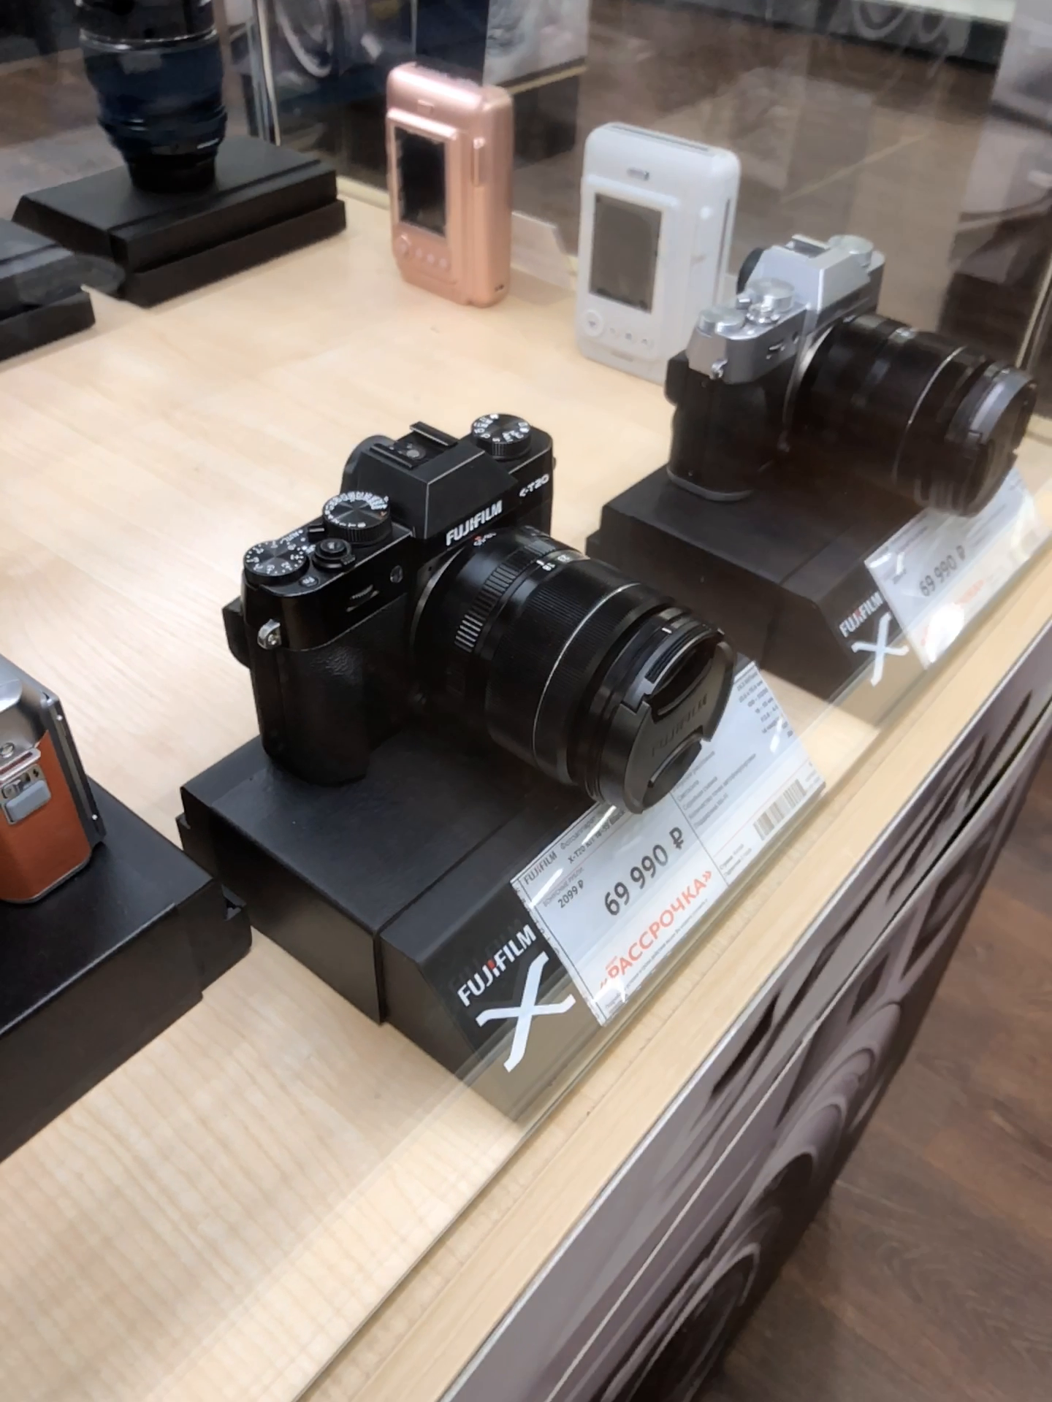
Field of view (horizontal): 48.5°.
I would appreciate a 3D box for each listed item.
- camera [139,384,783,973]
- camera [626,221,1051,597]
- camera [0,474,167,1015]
[{"bbox_3d":[-0.018,-0.017,0.349,0.130,0.080,0.122,31,49,28],"label":"camera"},{"bbox_3d":[0.131,-0.124,0.469,0.124,0.071,0.130,29,48,27],"label":"camera"},{"bbox_3d":[-0.167,0.005,0.302,0.122,0.063,0.075,29,48,27],"label":"camera"}]
